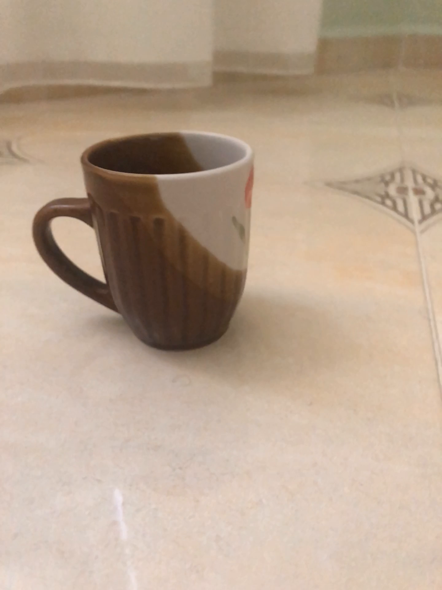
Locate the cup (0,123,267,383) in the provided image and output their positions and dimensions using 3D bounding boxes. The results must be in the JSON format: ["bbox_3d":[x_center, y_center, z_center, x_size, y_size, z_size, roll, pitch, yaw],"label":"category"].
[{"bbox_3d":[-0.039,-0.026,0.234,0.103,0.086,0.076,9,31,16],"label":"cup"}]
